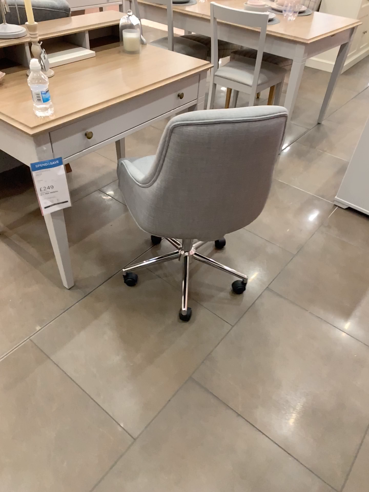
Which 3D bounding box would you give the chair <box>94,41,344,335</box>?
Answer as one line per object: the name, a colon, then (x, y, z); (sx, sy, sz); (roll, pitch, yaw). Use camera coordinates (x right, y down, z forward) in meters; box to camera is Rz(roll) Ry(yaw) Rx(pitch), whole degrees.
chair: (0.037, -0.234, 1.495); (0.625, 0.890, 0.641); (-9, 43, -14)
